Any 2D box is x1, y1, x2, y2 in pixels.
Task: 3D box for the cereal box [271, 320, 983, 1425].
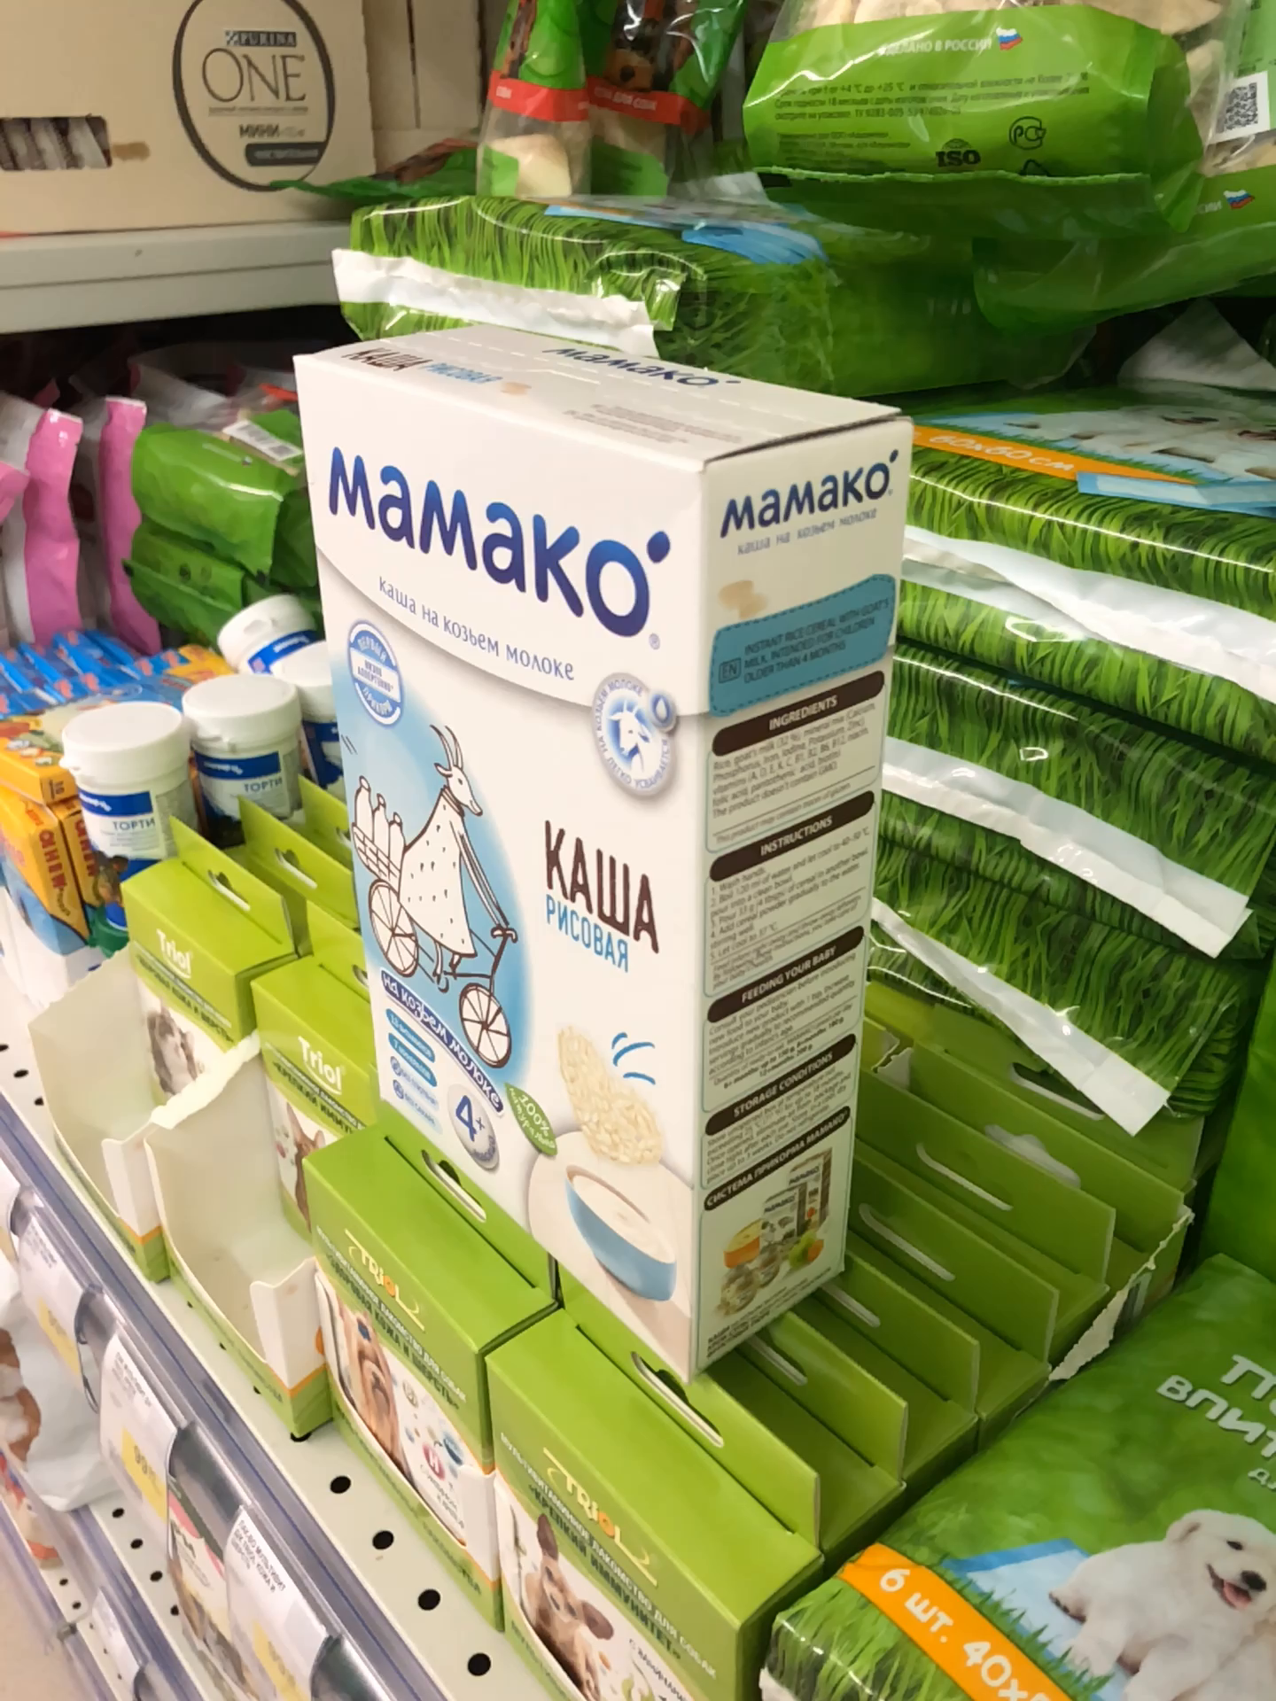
[{"bbox_3d":[-0.010,-0.002,0.314,0.060,0.199,0.140,-21,34,-34],"label":"cereal box"}]
